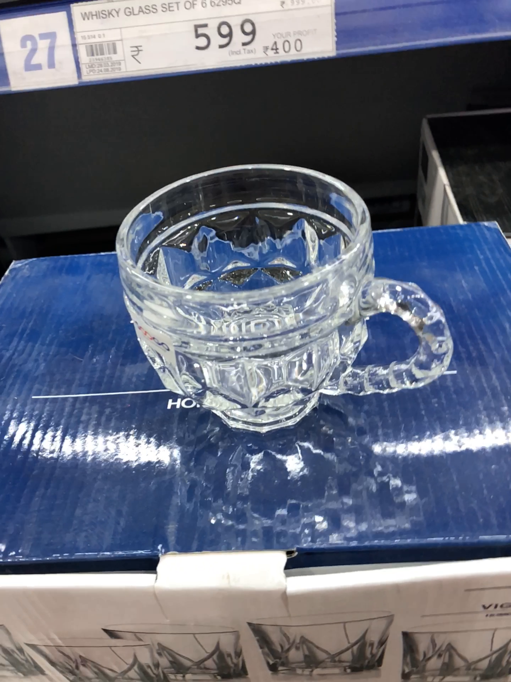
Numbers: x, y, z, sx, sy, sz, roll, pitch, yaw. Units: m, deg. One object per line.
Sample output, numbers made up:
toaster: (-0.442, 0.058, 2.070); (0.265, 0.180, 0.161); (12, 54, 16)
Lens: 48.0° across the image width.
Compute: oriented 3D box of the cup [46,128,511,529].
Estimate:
cup: (0.014, -0.016, 0.184); (0.110, 0.060, 0.090); (19, 48, 29)
